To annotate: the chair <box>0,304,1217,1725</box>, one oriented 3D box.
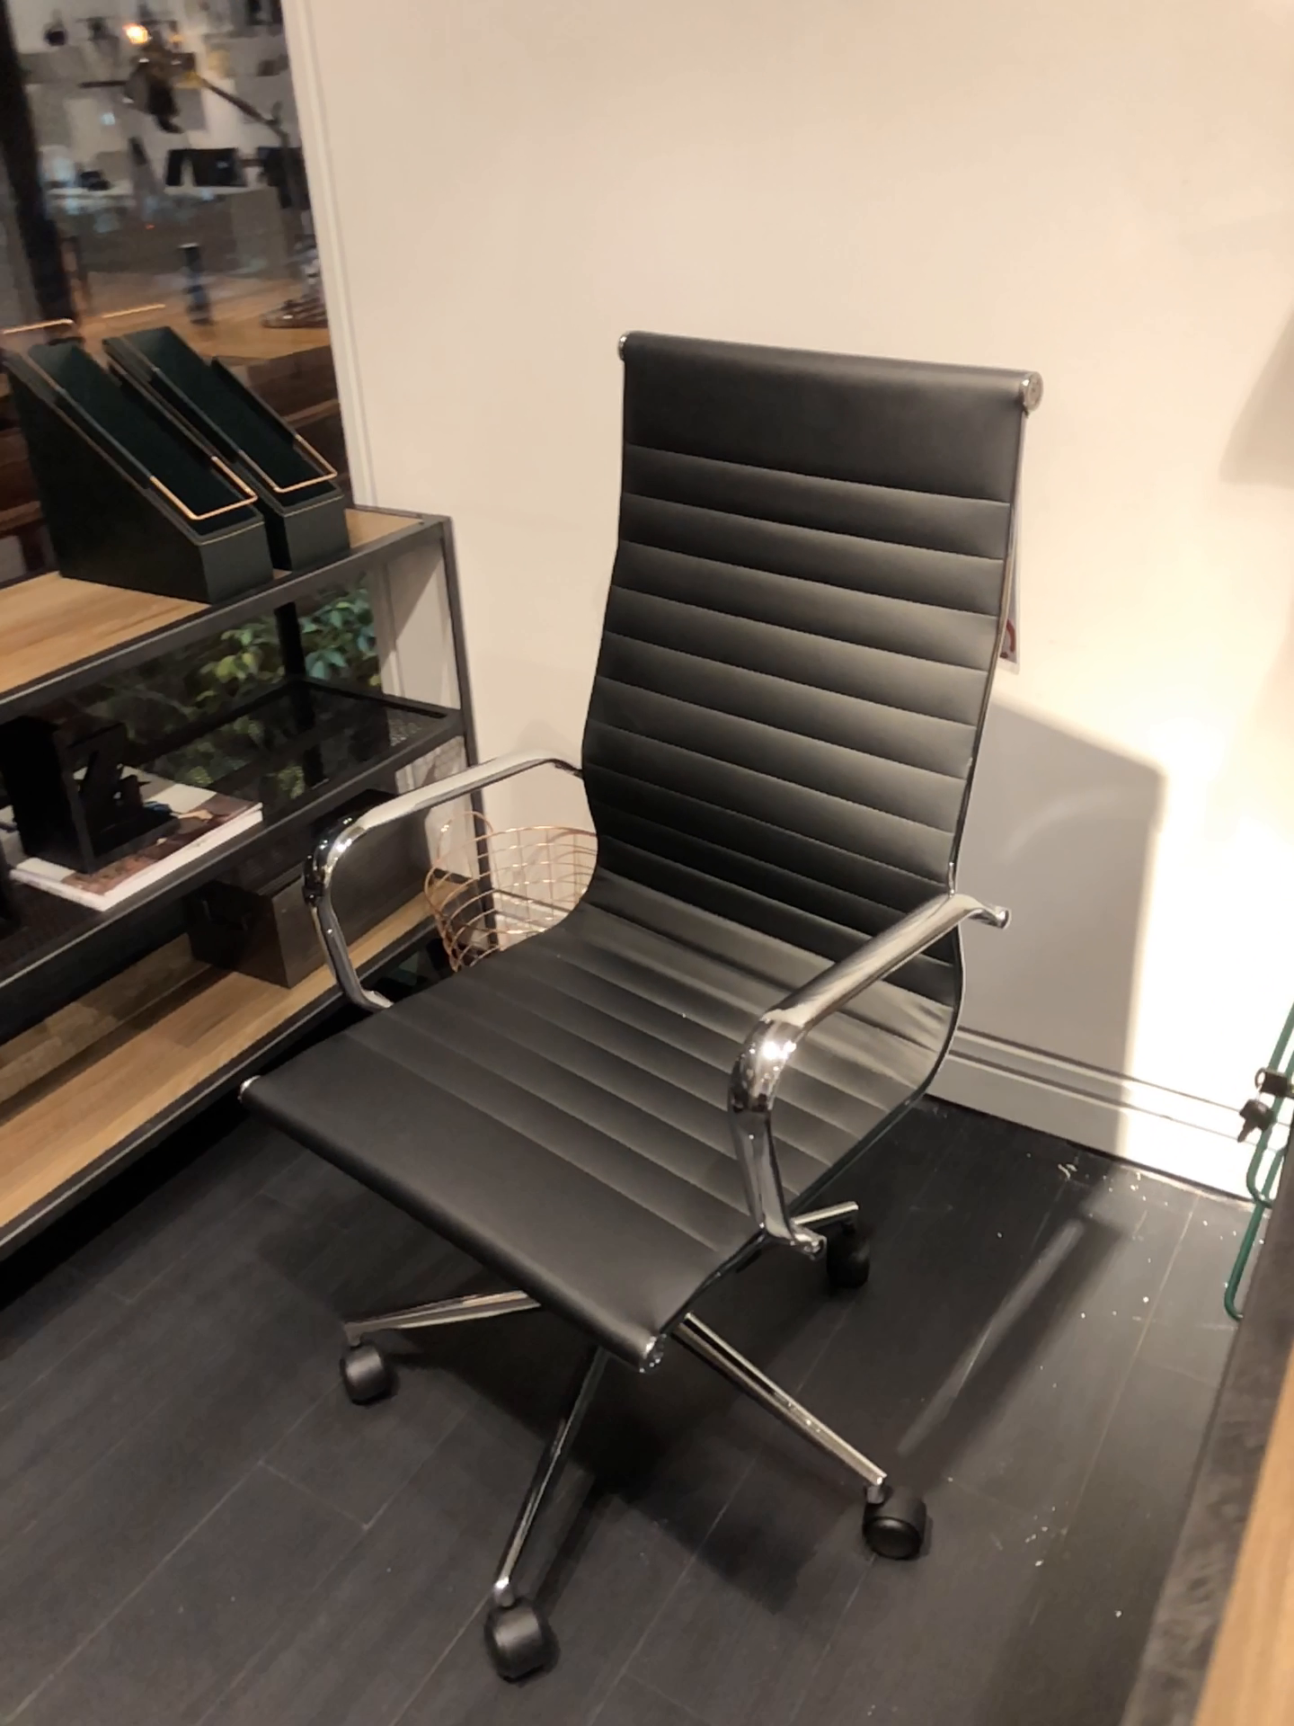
[{"bbox_3d":[-0.019,0.112,1.304,0.682,1.052,0.663,21,37,36],"label":"chair"}]
